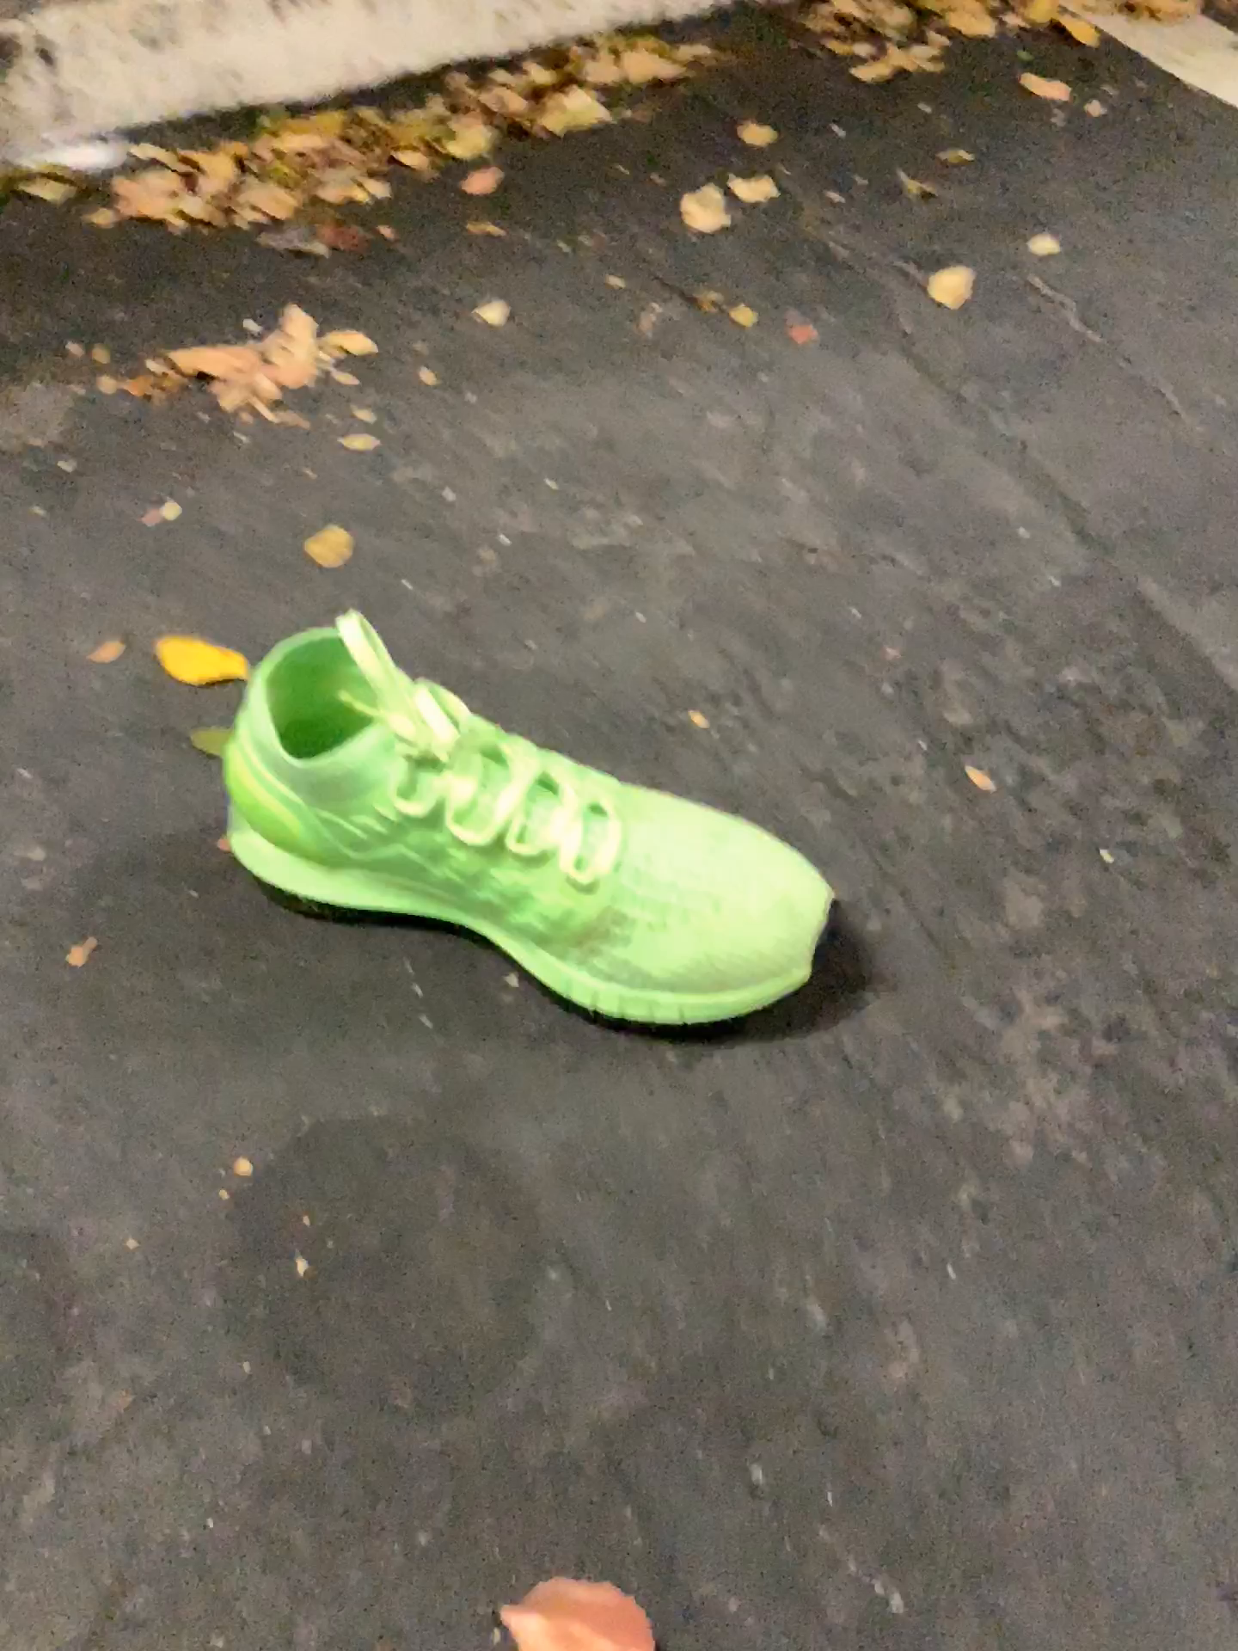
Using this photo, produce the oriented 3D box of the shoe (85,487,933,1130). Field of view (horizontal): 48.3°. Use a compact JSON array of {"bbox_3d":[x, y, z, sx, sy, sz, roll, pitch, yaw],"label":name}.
[{"bbox_3d":[-0.045,-0.021,0.598,0.320,0.150,0.130,18,48,25],"label":"shoe"}]
